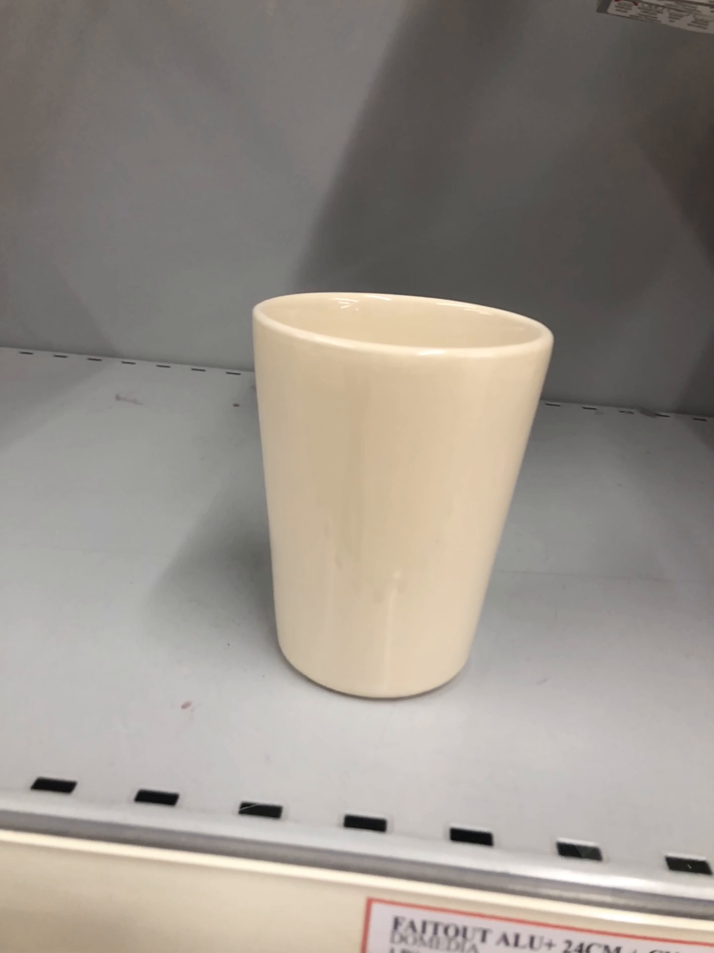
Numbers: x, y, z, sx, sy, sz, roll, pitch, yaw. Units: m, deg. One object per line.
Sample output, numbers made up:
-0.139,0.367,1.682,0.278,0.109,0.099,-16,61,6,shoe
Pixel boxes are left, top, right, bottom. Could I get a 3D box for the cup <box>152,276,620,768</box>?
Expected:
0.012,-0.001,0.244,0.082,0.099,0.120,19,25,32,cup
